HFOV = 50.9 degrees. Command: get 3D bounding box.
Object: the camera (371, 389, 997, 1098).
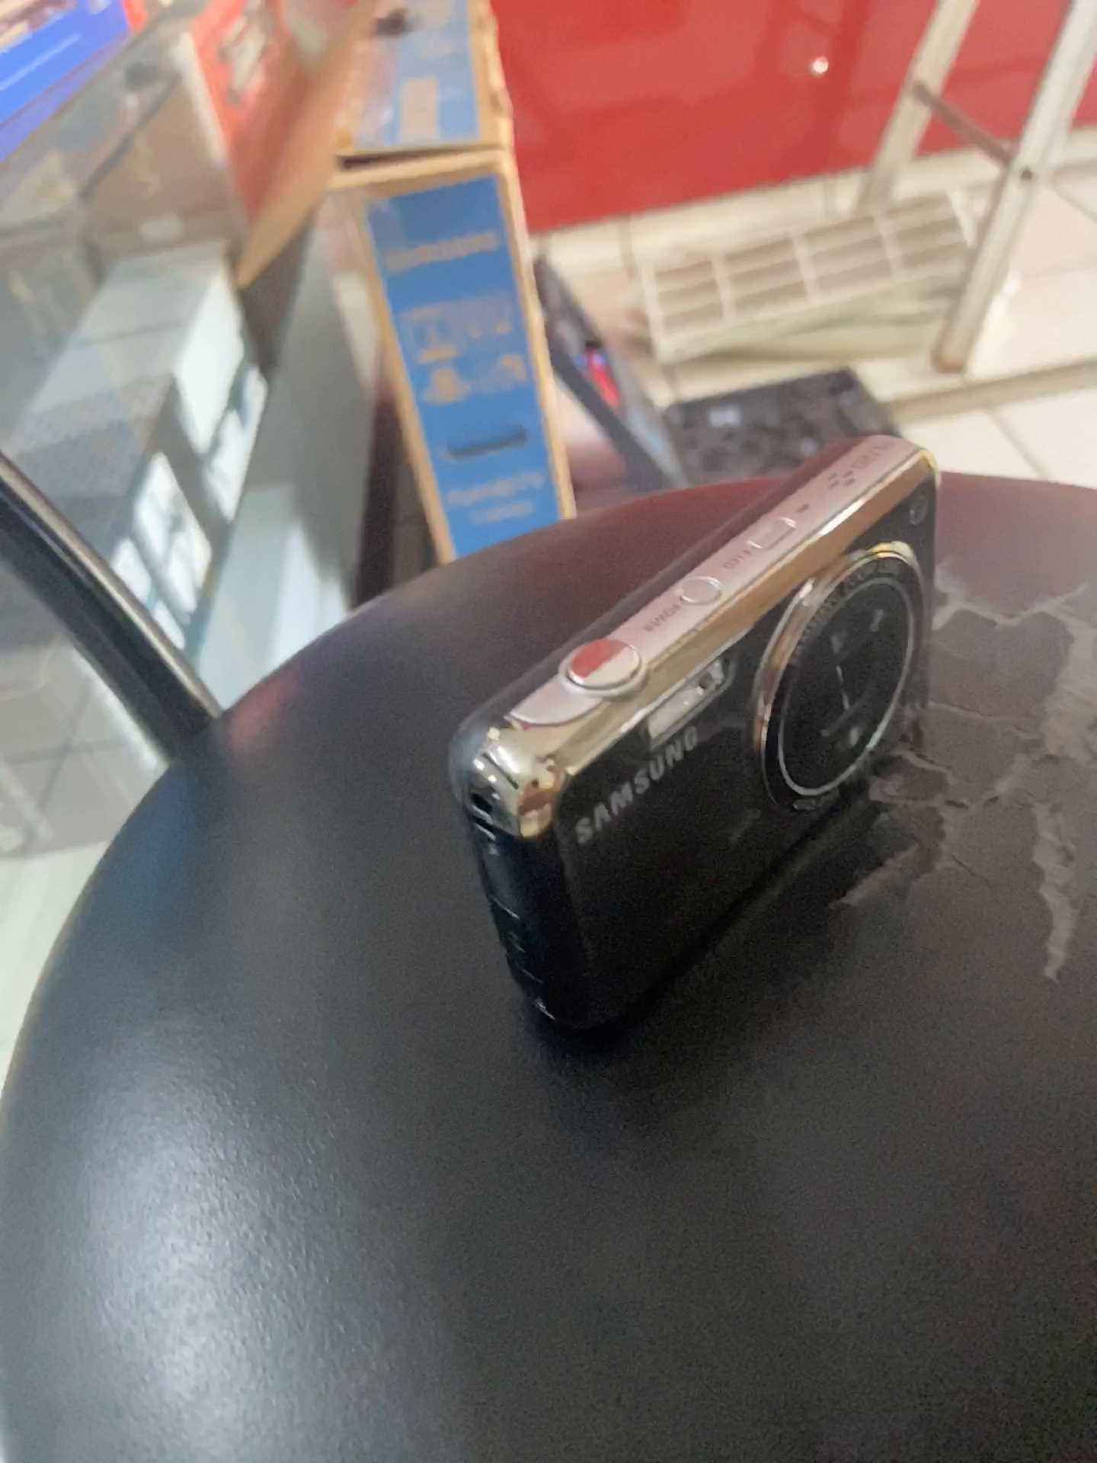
[{"bbox_3d":[0.028,-0.002,0.181,0.100,0.060,0.030,-38,46,-27],"label":"camera"}]
